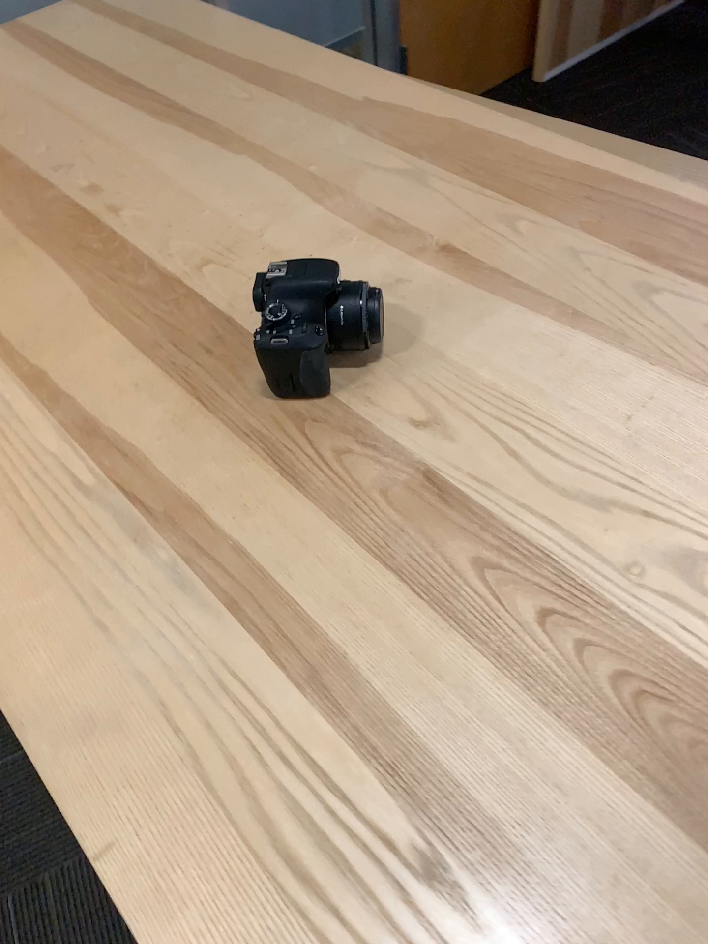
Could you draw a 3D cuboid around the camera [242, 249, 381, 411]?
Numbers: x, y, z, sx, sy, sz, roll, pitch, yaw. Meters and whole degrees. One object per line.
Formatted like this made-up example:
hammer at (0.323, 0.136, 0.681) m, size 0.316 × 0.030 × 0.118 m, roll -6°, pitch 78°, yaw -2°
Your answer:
camera at (-0.034, -0.136, 0.695) m, size 0.112 × 0.094 × 0.120 m, roll -1°, pitch 51°, yaw 6°
